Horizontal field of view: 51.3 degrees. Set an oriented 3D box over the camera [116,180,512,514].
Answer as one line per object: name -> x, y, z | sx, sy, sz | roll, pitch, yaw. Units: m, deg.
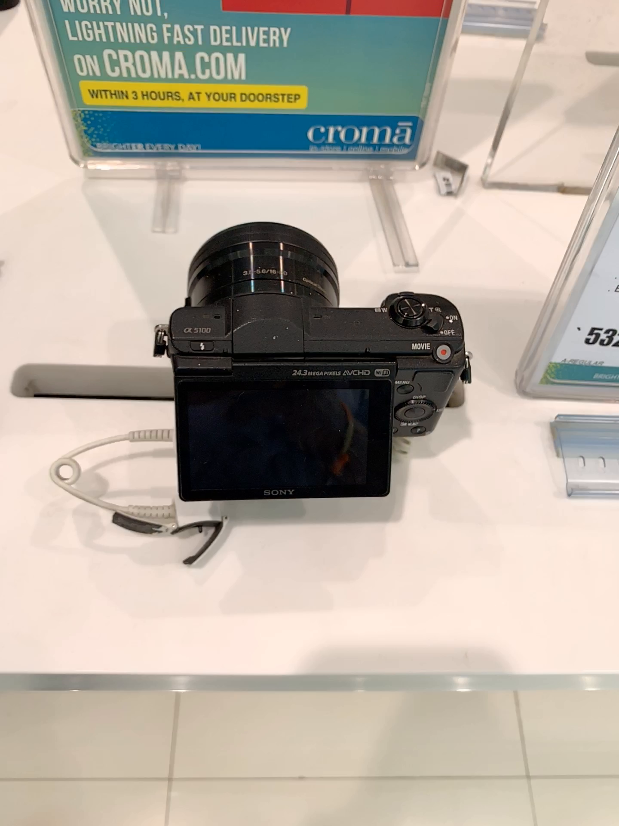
camera -> -0.002, -0.022, 0.237 | 0.110, 0.082, 0.088 | -1, 58, -5
